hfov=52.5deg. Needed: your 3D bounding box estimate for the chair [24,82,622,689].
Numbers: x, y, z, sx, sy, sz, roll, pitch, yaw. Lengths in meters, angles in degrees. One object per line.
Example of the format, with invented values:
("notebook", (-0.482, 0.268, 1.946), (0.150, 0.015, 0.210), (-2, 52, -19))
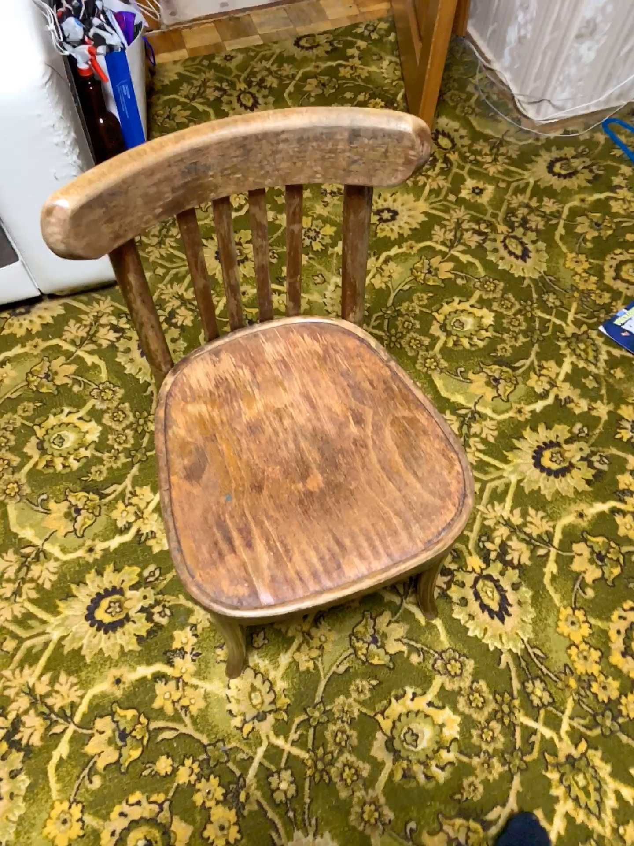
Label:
("chair", (-0.030, 0.045, 0.864), (0.399, 0.736, 0.412), (-14, 63, -8))
